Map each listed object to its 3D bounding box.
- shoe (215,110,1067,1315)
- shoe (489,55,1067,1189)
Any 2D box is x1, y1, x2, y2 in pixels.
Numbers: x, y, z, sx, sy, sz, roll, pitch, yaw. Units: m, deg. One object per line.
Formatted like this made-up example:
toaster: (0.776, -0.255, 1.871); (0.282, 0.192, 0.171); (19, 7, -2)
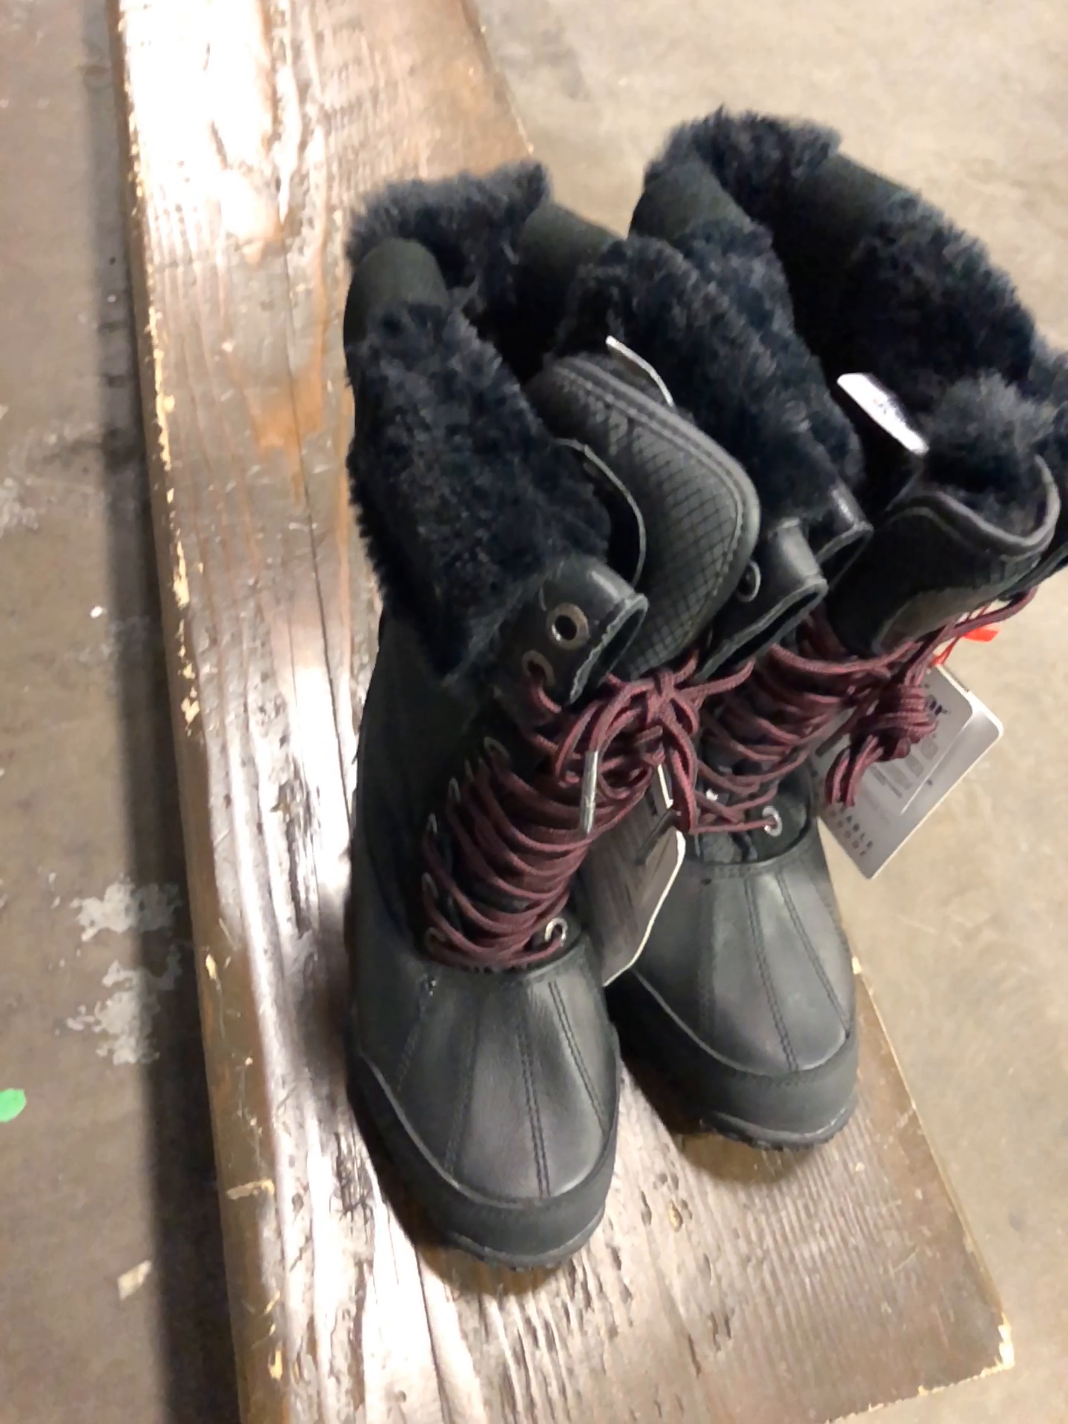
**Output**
shoe: (-0.011, 0.018, 0.333); (0.100, 0.258, 0.221); (-11, 59, -17)
shoe: (0.082, -0.012, 0.368); (0.100, 0.258, 0.231); (-11, 59, -17)
